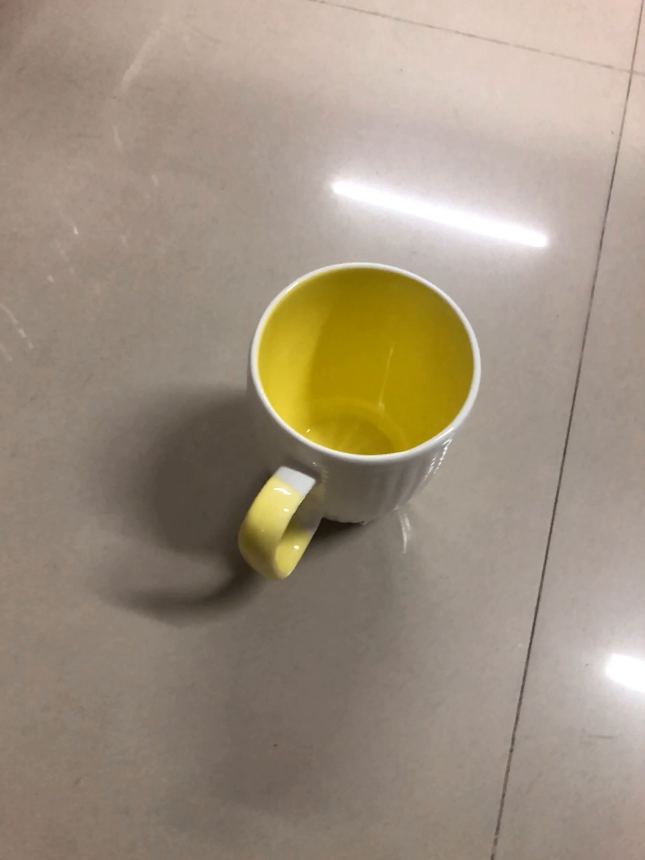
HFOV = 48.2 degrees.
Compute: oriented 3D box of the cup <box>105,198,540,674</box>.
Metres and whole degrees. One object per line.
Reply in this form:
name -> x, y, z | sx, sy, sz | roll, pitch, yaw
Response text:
cup -> 0.004, 0.004, 0.249 | 0.080, 0.080, 0.120 | 27, 67, 11
